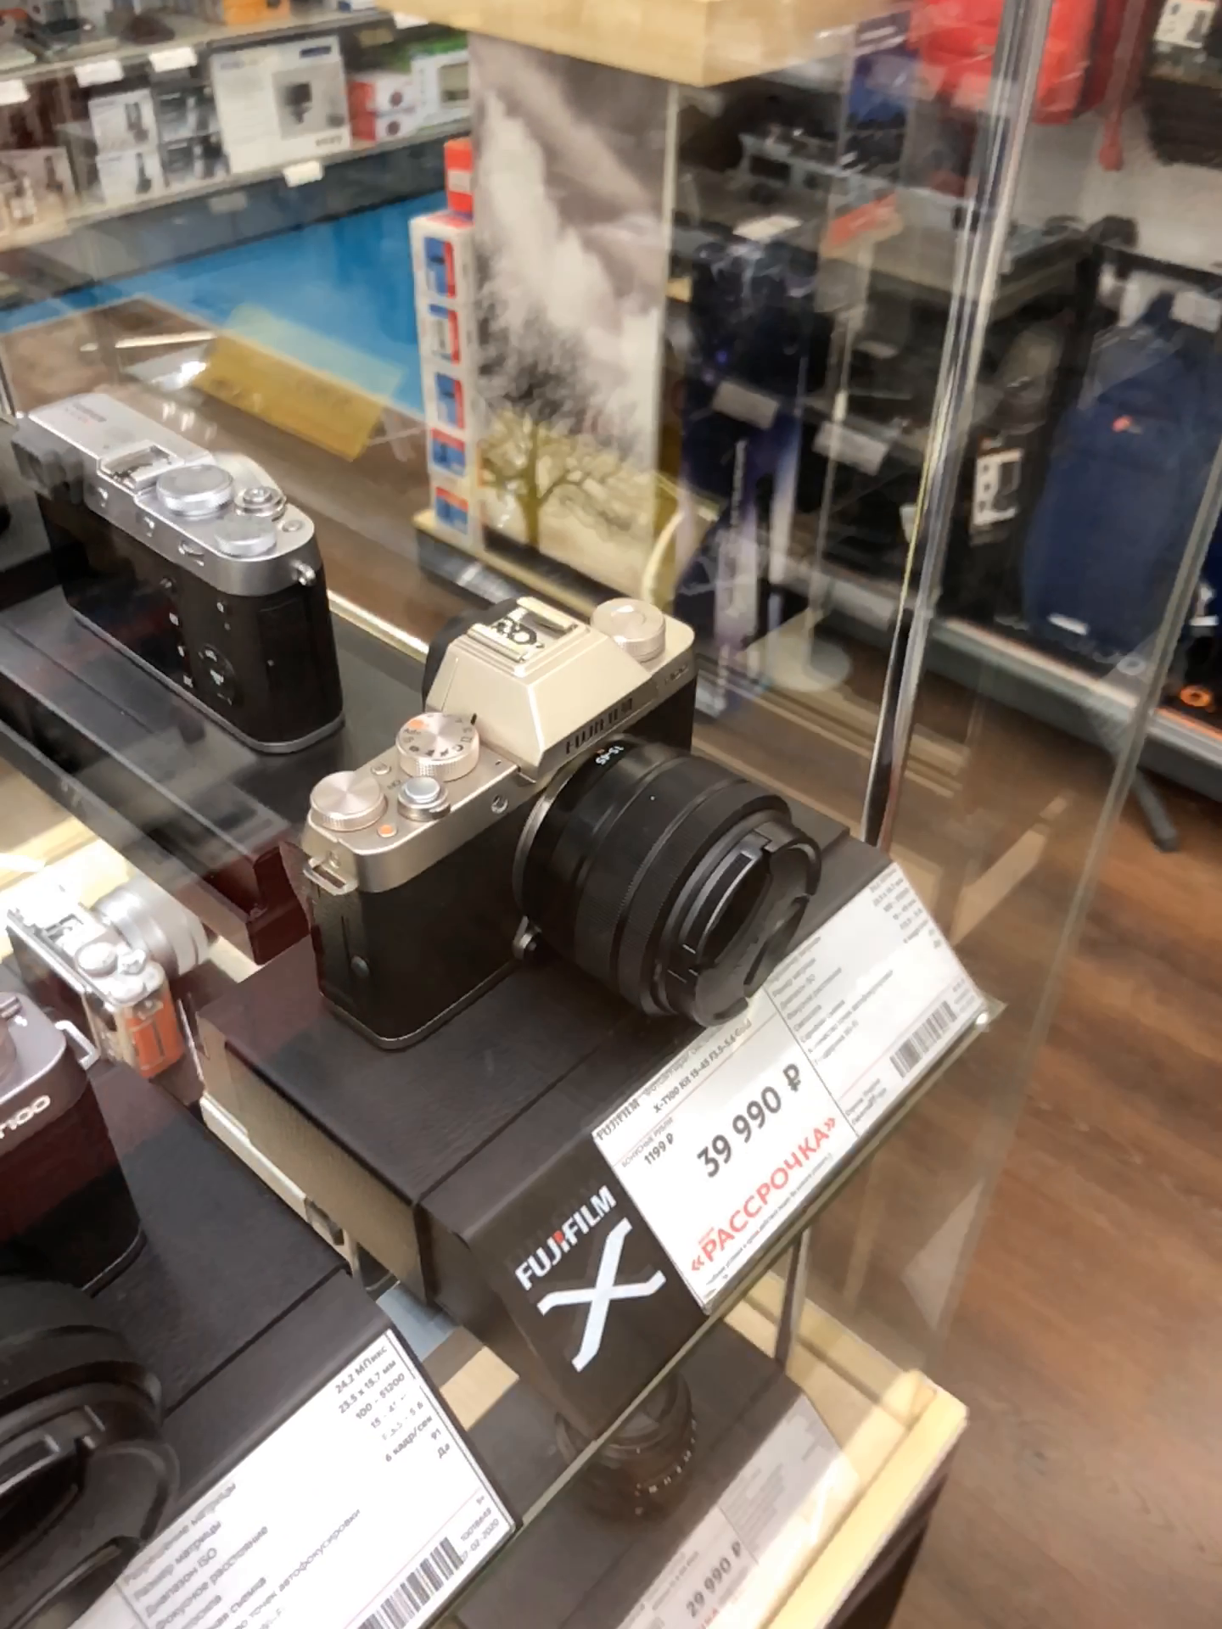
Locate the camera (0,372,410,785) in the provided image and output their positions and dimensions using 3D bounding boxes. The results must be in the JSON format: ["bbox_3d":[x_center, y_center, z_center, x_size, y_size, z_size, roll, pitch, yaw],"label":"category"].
[{"bbox_3d":[-0.132,-0.081,0.441,0.132,0.076,0.055,33,49,31],"label":"camera"}]

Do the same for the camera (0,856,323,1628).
[{"bbox_3d":[-0.141,0.097,0.225,0.102,0.086,0.141,30,48,30],"label":"camera"}]

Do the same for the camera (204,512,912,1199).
[{"bbox_3d":[-0.009,0.001,0.334,0.100,0.080,0.132,29,47,28],"label":"camera"}]
